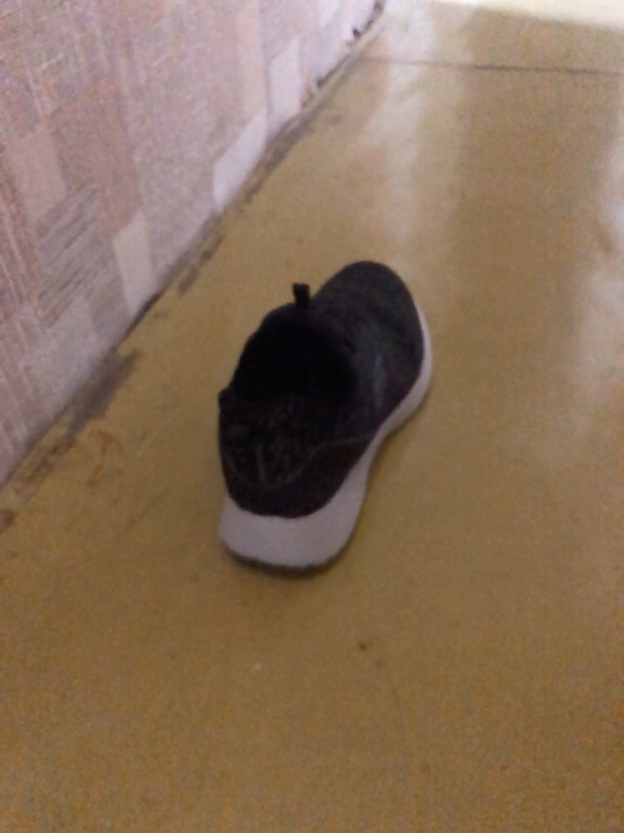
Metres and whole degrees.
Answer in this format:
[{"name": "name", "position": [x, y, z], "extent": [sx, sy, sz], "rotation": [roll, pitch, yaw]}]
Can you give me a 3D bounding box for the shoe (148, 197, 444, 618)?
[{"name": "shoe", "position": [0.011, -0.030, 0.550], "extent": [0.120, 0.129, 0.321], "rotation": [11, 46, 13]}]
